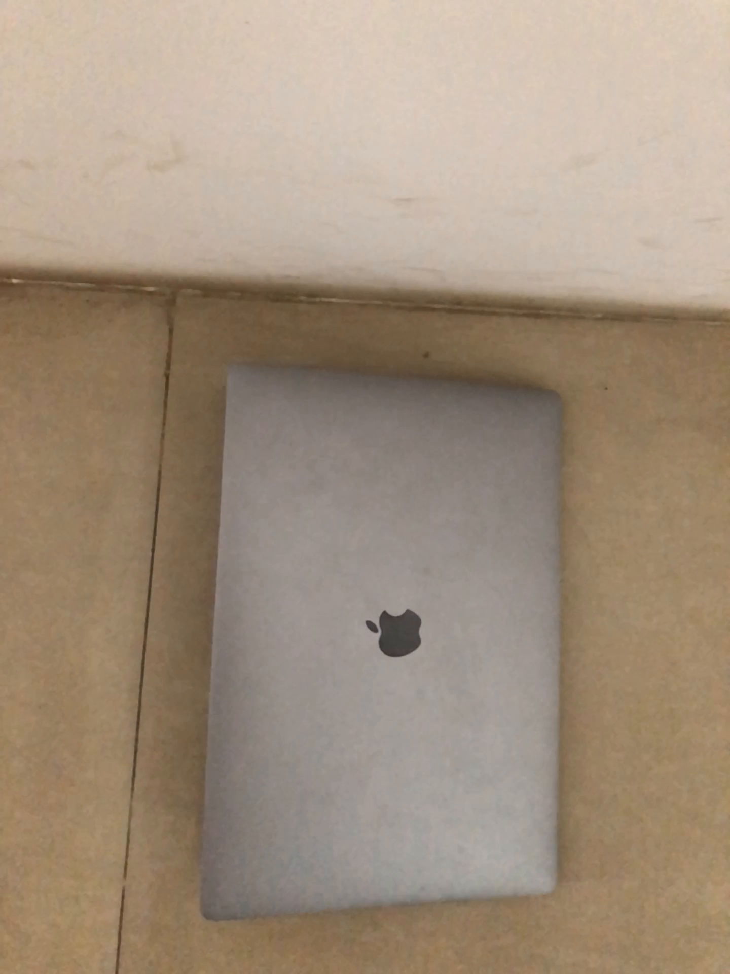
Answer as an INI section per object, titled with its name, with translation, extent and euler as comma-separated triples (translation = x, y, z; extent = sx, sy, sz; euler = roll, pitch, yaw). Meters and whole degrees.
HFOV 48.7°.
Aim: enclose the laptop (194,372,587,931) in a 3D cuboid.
[laptop]
translation = 0.019, 0.101, 0.539
extent = 0.232, 0.057, 0.335
euler = 3, 85, 0
